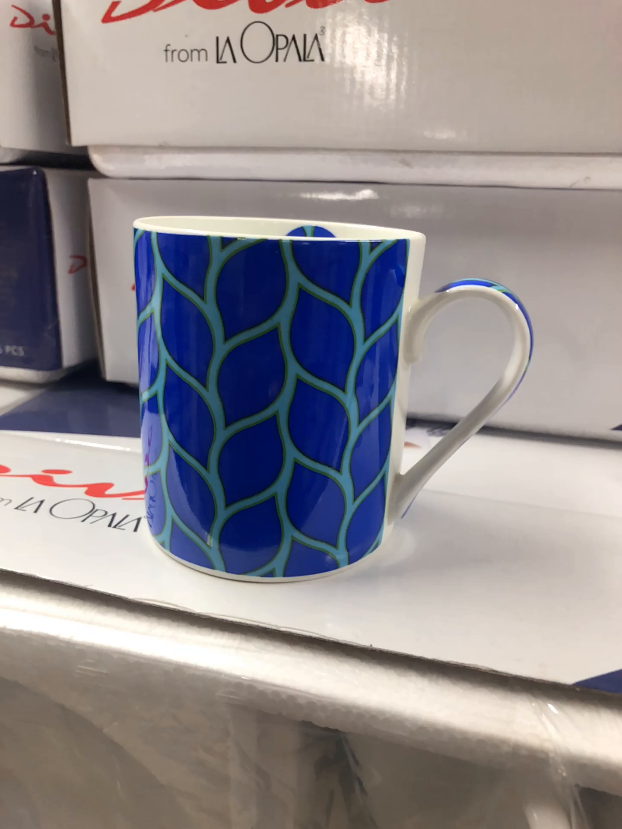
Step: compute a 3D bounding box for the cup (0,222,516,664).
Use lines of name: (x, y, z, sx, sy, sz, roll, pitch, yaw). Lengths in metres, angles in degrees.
cup: (-0.011, -0.003, 0.198, 0.120, 0.090, 0.080, 6, 19, 12)
